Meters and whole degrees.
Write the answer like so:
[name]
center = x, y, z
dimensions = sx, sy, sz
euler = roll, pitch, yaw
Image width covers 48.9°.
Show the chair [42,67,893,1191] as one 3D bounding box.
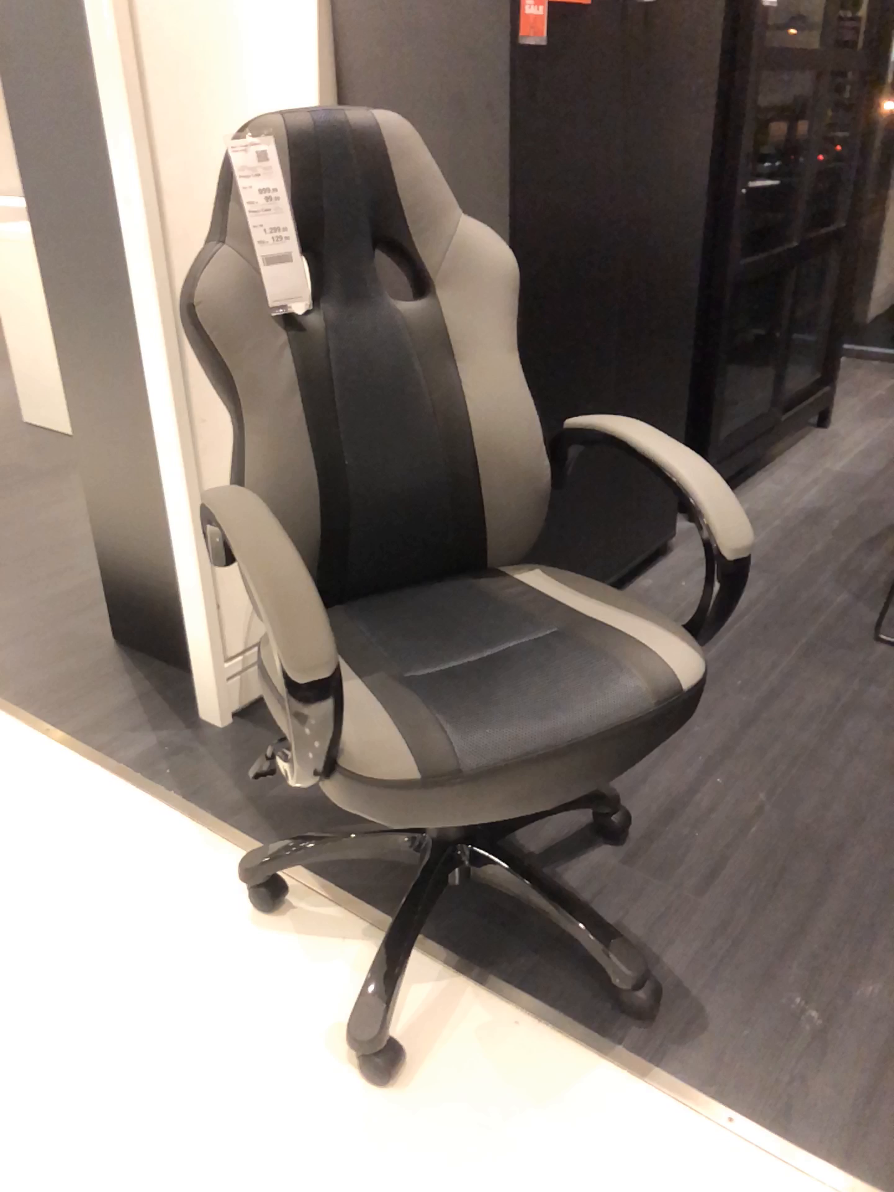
[chair]
center = -0.014, -0.050, 1.357
dimensions = 0.711, 1.161, 0.784
euler = -14, 29, -24
